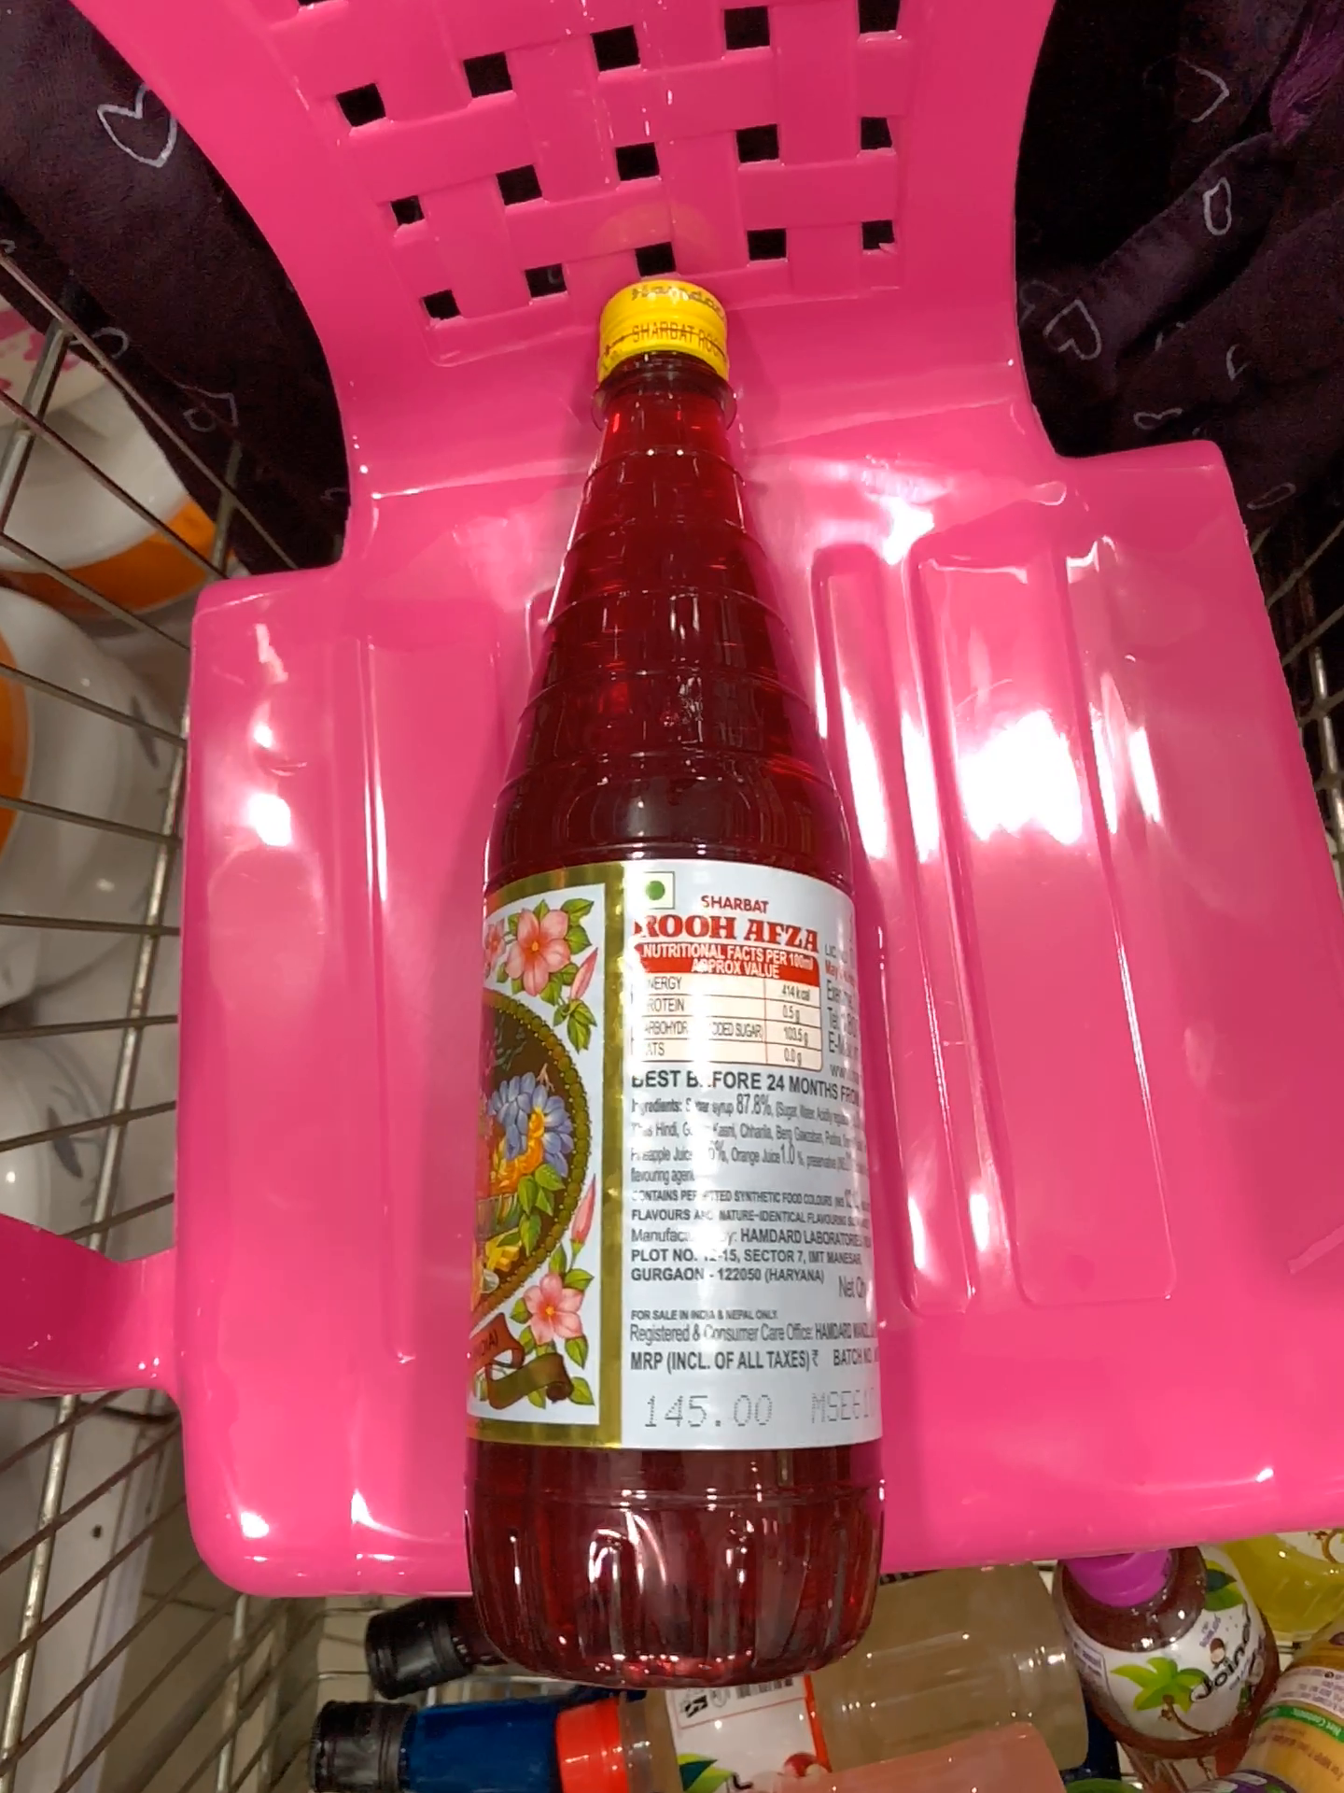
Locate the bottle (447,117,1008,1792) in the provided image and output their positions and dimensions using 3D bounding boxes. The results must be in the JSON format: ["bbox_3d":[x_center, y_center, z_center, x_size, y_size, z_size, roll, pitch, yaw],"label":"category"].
[{"bbox_3d":[0.002,0.002,0.247,0.080,0.060,0.260,0,80,-9],"label":"bottle"}]
